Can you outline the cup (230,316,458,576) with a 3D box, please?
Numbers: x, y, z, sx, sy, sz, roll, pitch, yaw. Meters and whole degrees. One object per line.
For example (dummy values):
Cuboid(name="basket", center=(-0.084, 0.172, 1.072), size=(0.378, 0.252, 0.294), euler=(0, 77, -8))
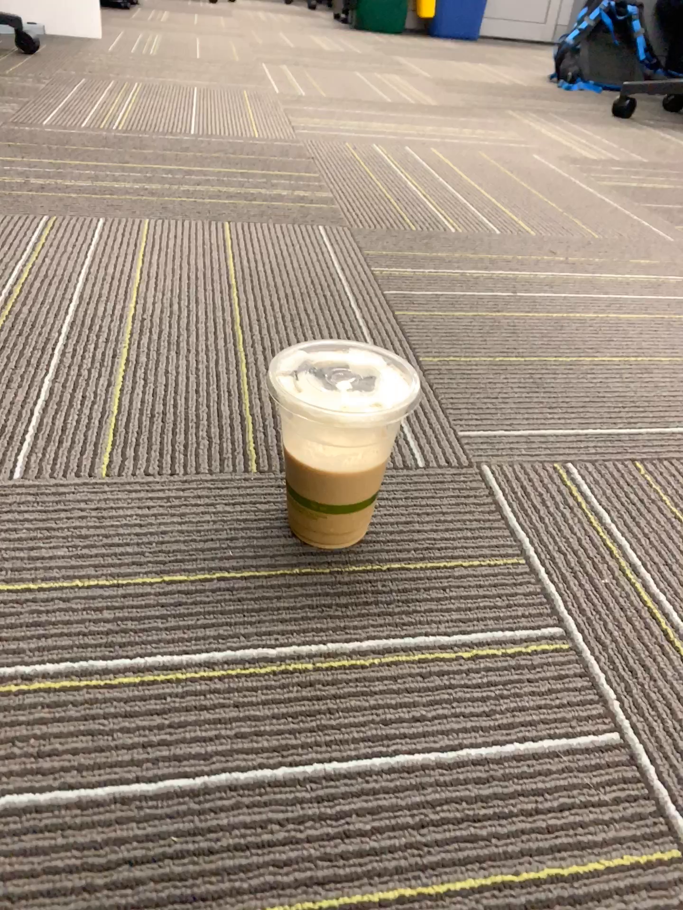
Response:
Cuboid(name="cup", center=(-0.001, -0.011, 0.460), size=(0.100, 0.109, 0.100), euler=(4, 35, -3))
